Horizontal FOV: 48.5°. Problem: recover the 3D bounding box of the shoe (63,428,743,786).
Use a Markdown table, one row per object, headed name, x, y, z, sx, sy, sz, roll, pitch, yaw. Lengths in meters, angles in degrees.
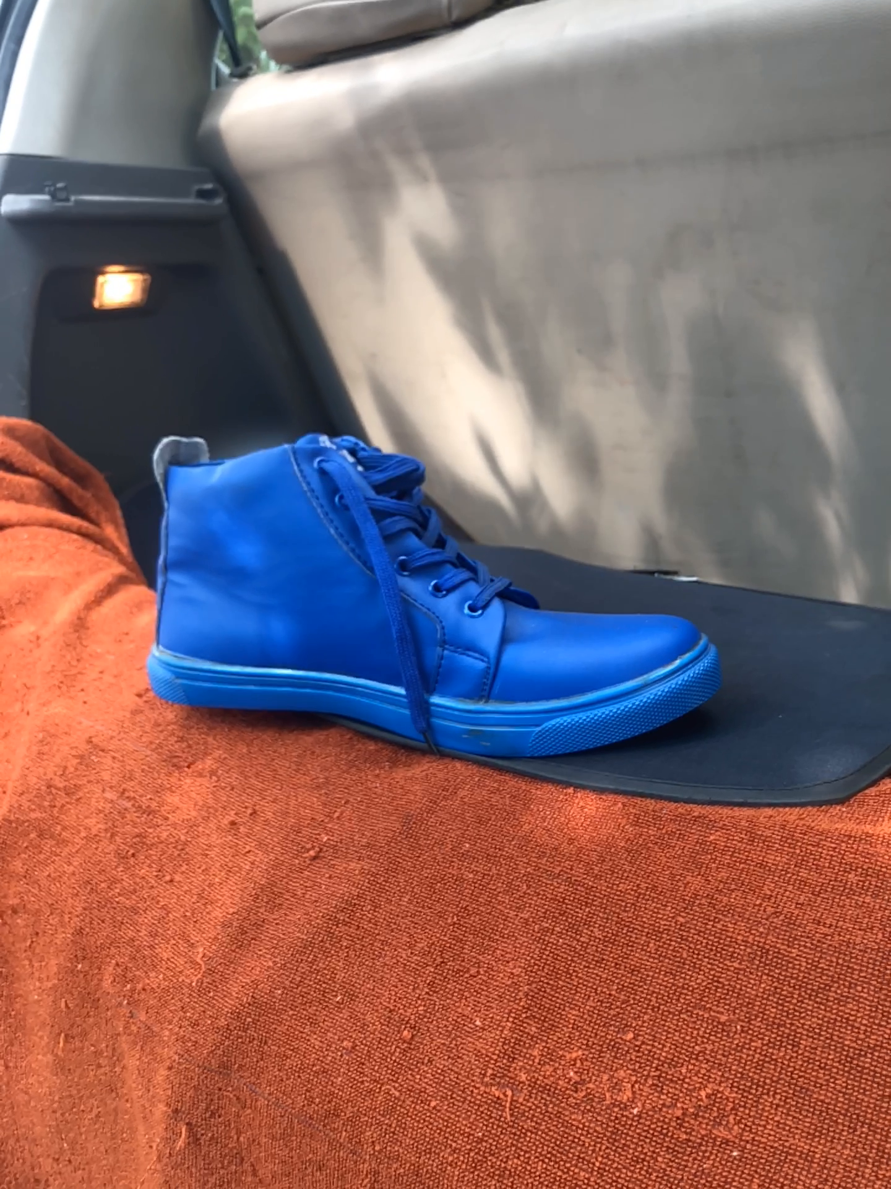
| name | x | y | z | sx | sy | sz | roll | pitch | yaw |
| --- | --- | --- | --- | --- | --- | --- | --- | --- | --- |
| shoe | -0.016 | -0.011 | 0.494 | 0.300 | 0.120 | 0.131 | 4 | 20 | 21 |
